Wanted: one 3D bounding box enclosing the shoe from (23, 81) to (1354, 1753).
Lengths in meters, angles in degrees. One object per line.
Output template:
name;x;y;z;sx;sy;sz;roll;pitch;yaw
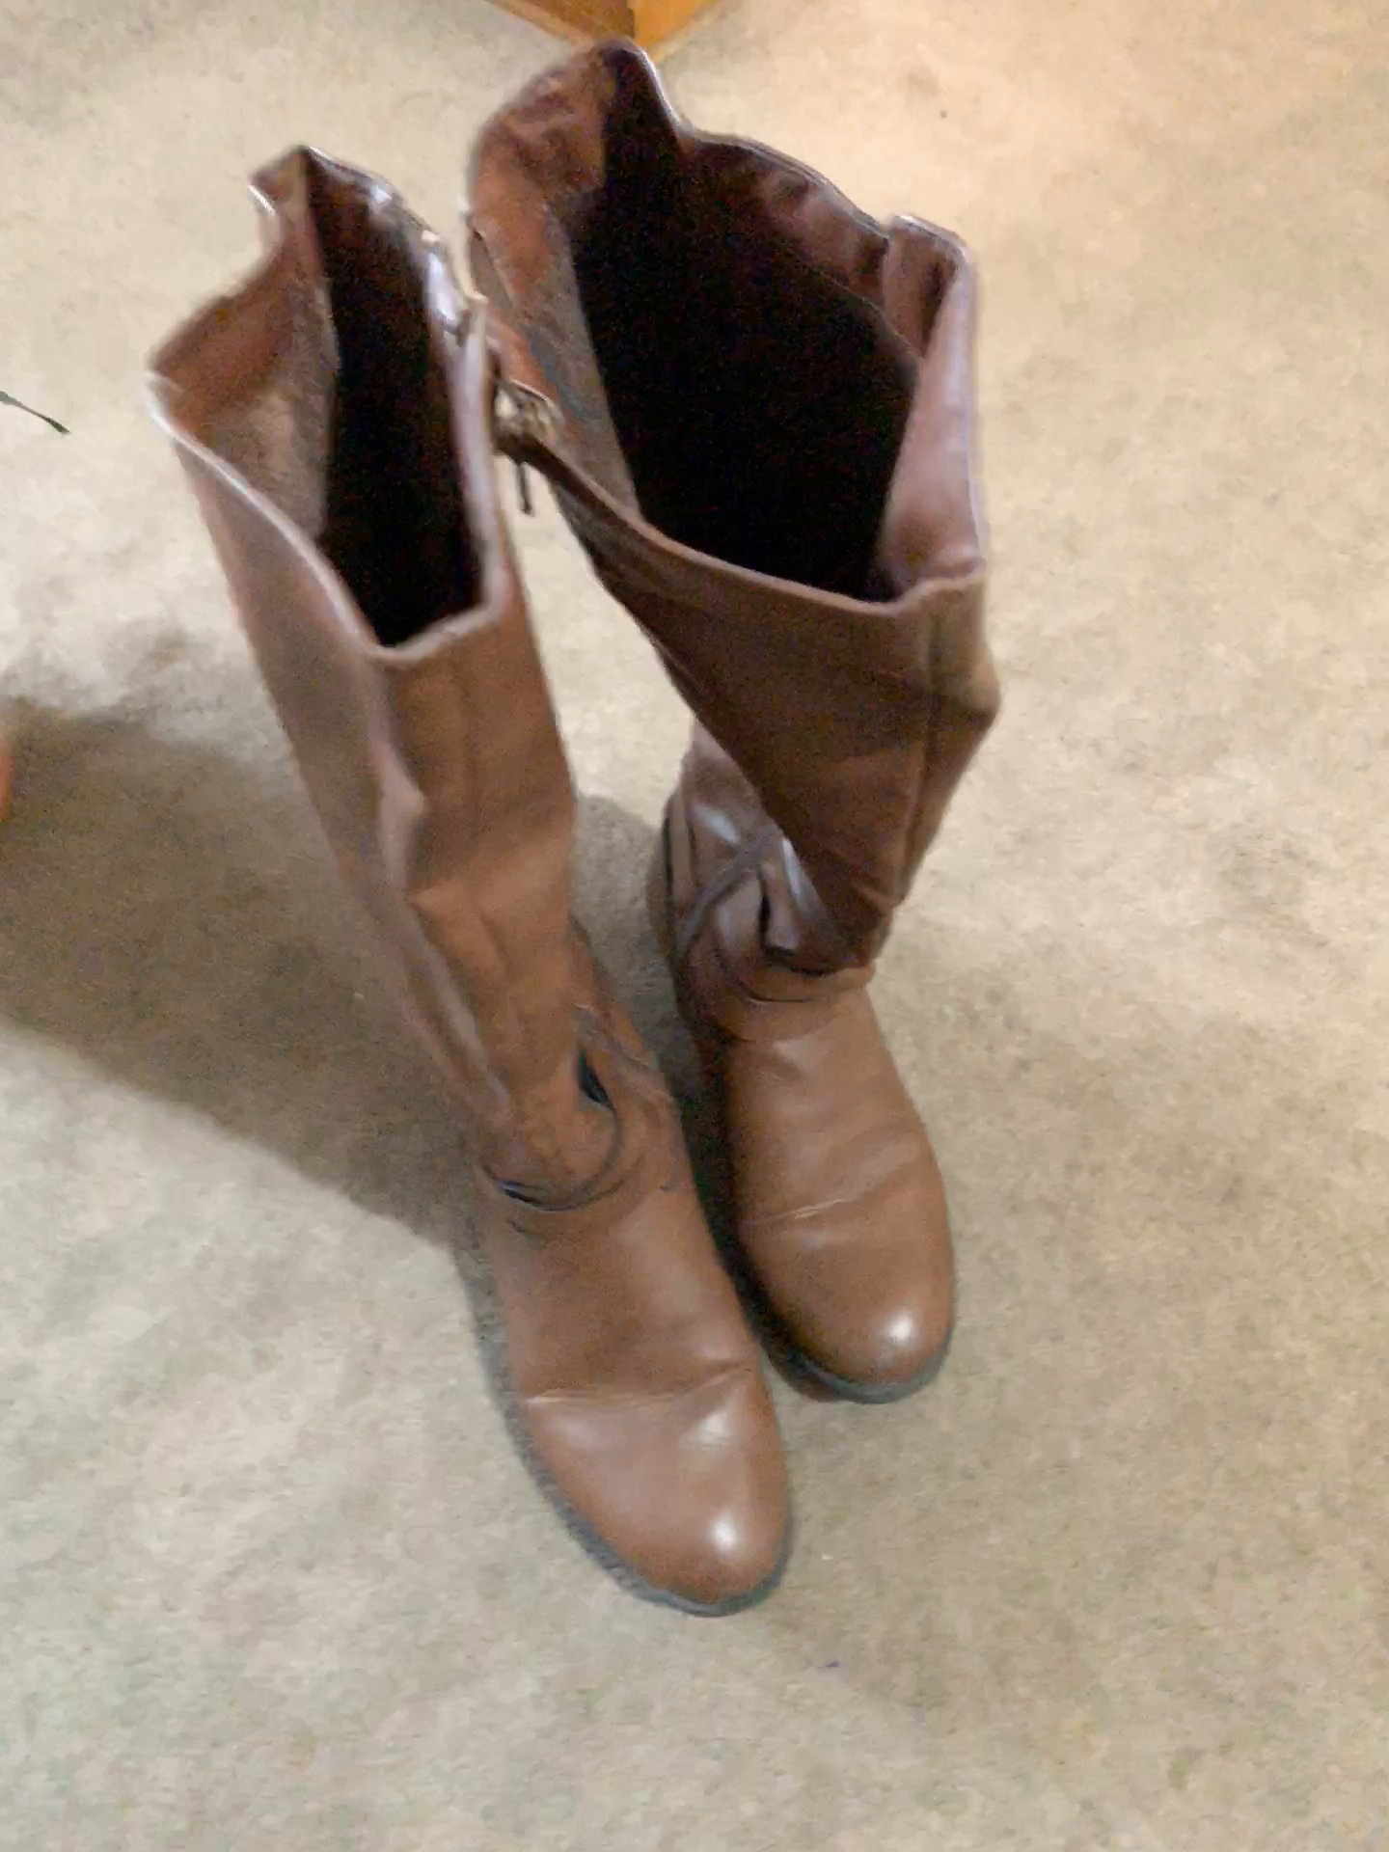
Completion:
shoe;-0.025;0.044;0.377;0.110;0.368;0.261;-20;65;-11

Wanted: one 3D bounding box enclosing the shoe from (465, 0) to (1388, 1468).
shoe;0.041;-0.014;0.431;0.120;0.398;0.271;-13;64;-8
